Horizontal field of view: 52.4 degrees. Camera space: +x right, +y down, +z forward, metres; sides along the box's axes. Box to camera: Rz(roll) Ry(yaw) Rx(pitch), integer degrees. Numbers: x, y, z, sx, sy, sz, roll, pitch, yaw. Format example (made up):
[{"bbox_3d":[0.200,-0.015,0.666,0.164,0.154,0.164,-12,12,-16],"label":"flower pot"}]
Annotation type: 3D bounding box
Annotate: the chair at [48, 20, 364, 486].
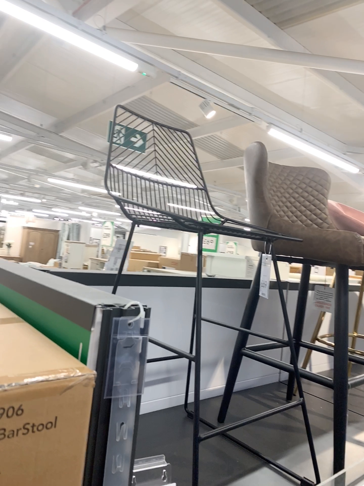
[{"bbox_3d":[0.057,0.098,0.994,0.507,0.969,0.528,8,-1,-41],"label":"chair"}]
